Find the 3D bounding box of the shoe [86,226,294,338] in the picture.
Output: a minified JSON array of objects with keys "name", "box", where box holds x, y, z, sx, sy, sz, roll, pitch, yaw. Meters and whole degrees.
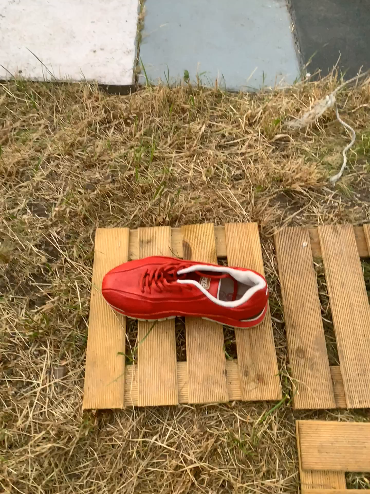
[{"name":"shoe","box":[0.007,0.059,0.581,0.280,0.129,0.101,7,64,-1]}]
